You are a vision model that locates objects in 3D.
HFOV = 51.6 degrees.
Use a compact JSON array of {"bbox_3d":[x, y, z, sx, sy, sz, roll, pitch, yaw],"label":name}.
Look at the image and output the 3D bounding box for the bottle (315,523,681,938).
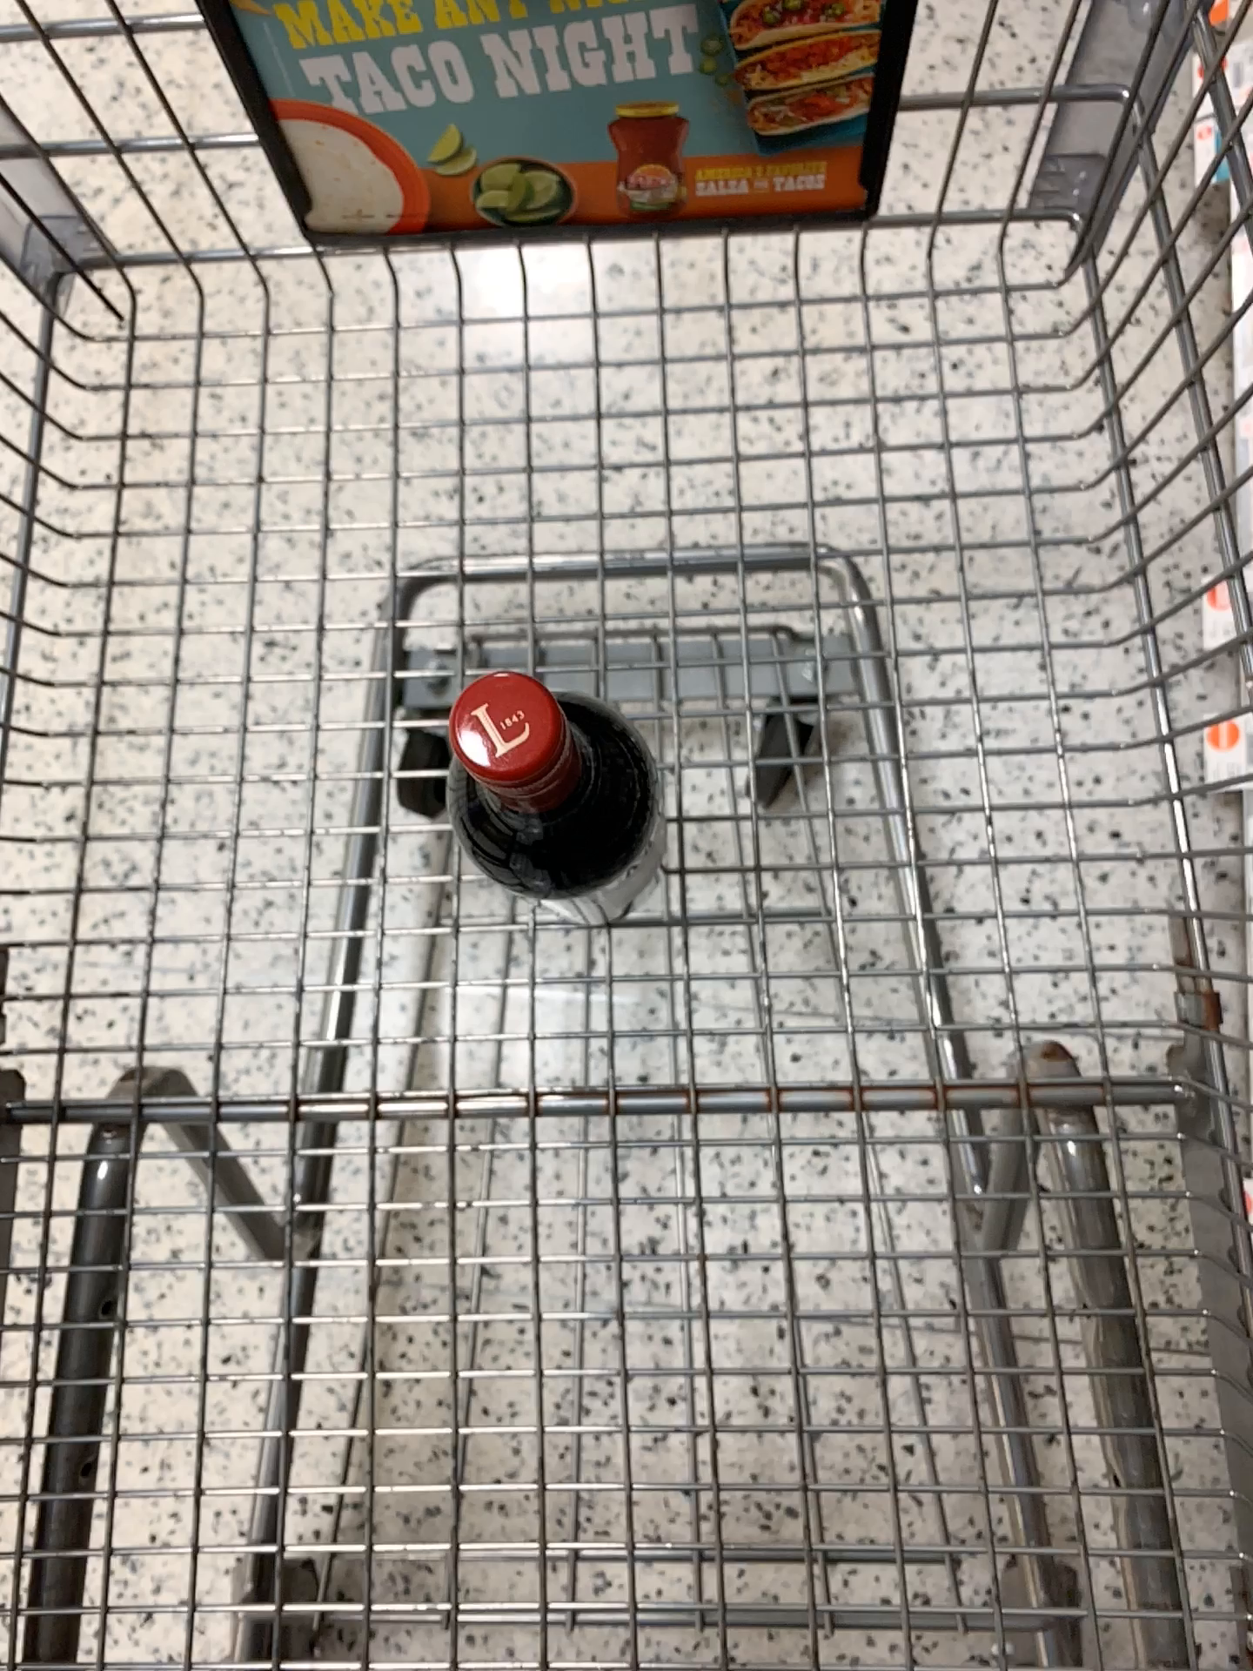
[{"bbox_3d":[-0.027,-0.018,0.484,0.080,0.290,0.090,3,82,5],"label":"bottle"}]
